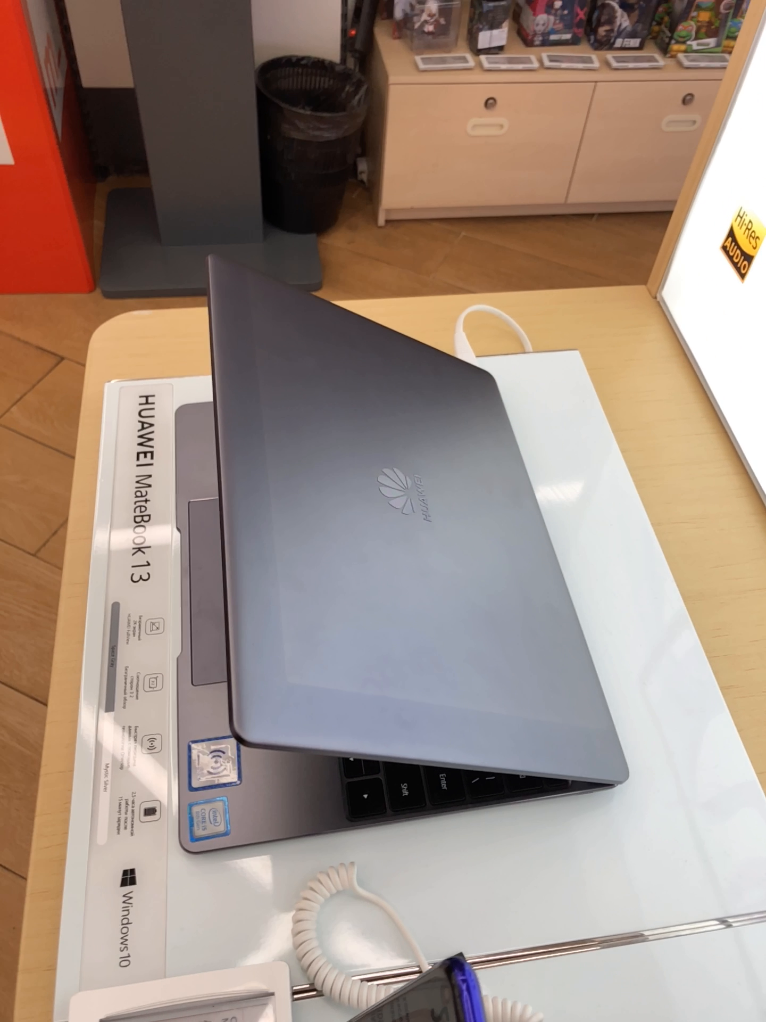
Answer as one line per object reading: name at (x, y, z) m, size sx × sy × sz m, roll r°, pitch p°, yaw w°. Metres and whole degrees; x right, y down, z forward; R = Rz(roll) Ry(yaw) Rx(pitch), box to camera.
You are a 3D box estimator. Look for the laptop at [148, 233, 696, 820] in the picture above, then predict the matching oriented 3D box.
laptop at (-0.006, -0.009, 0.438) m, size 0.203 × 0.106 × 0.272 m, roll -7°, pitch 54°, yaw -8°
